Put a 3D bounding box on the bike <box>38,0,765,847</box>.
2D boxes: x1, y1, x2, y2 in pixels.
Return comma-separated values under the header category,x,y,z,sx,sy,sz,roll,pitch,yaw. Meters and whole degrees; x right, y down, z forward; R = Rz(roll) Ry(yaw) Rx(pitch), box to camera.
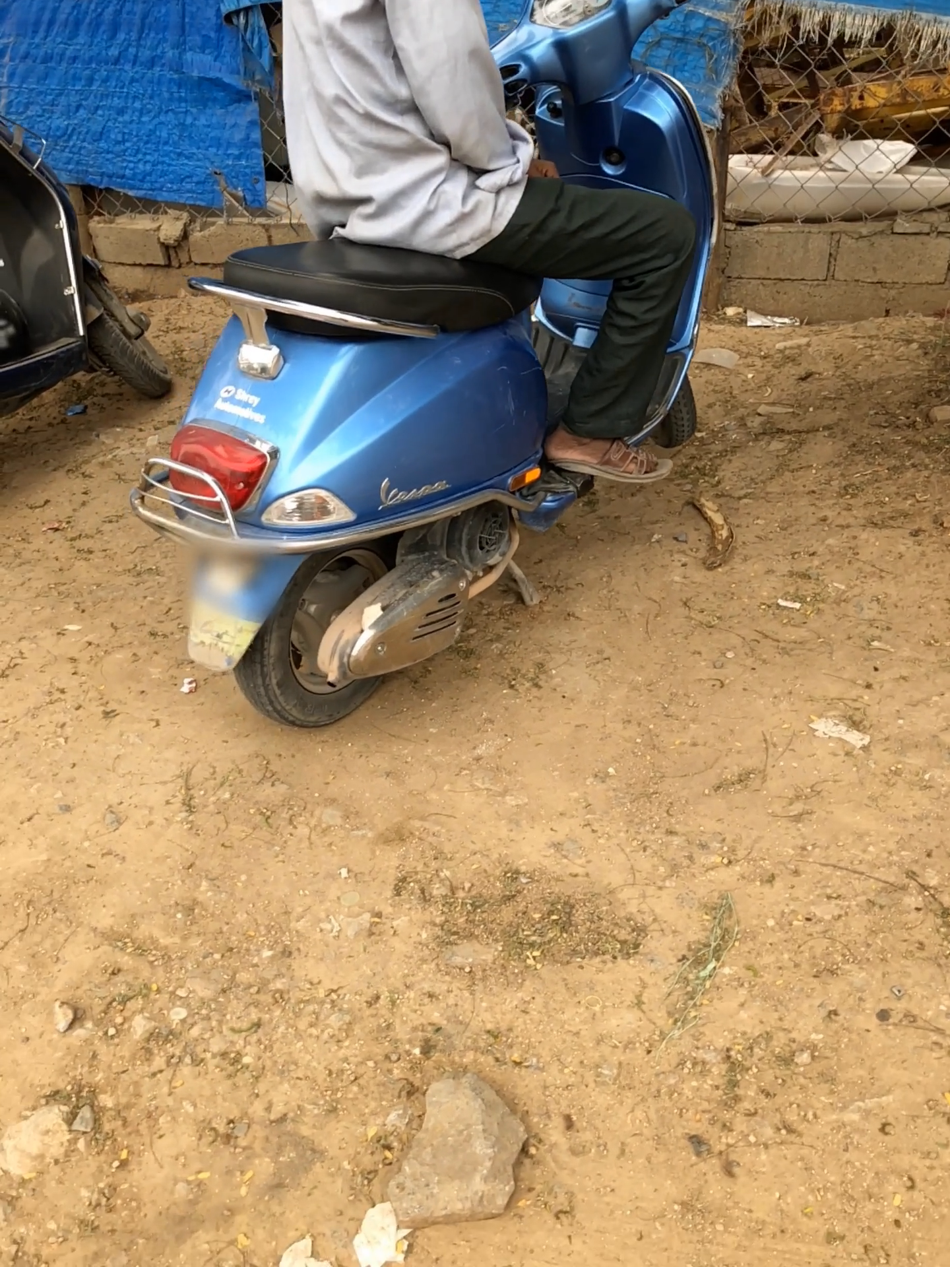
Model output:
category,x,y,z,sx,sy,sz,roll,pitch,yaw
bike,0.027,-0.749,2.097,0.631,1.253,1.576,13,39,25
